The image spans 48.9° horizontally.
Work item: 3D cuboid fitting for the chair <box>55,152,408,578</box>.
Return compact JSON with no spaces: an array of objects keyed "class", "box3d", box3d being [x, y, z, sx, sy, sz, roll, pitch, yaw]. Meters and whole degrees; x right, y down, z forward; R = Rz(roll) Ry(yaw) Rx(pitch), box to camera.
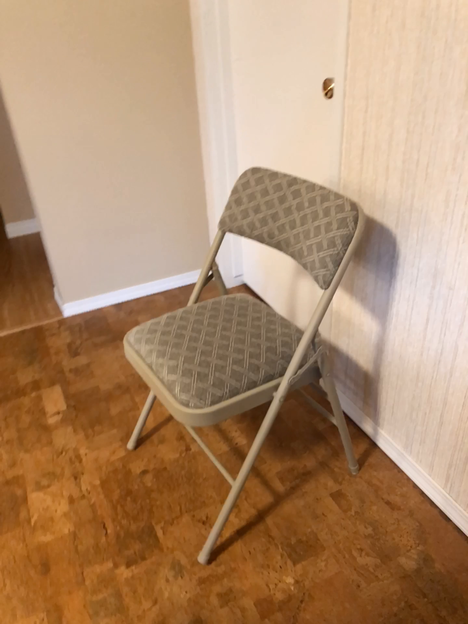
[{"class":"chair","box3d":[-0.005,0.091,1.273,0.560,0.758,0.492,-21,36,-26]}]
